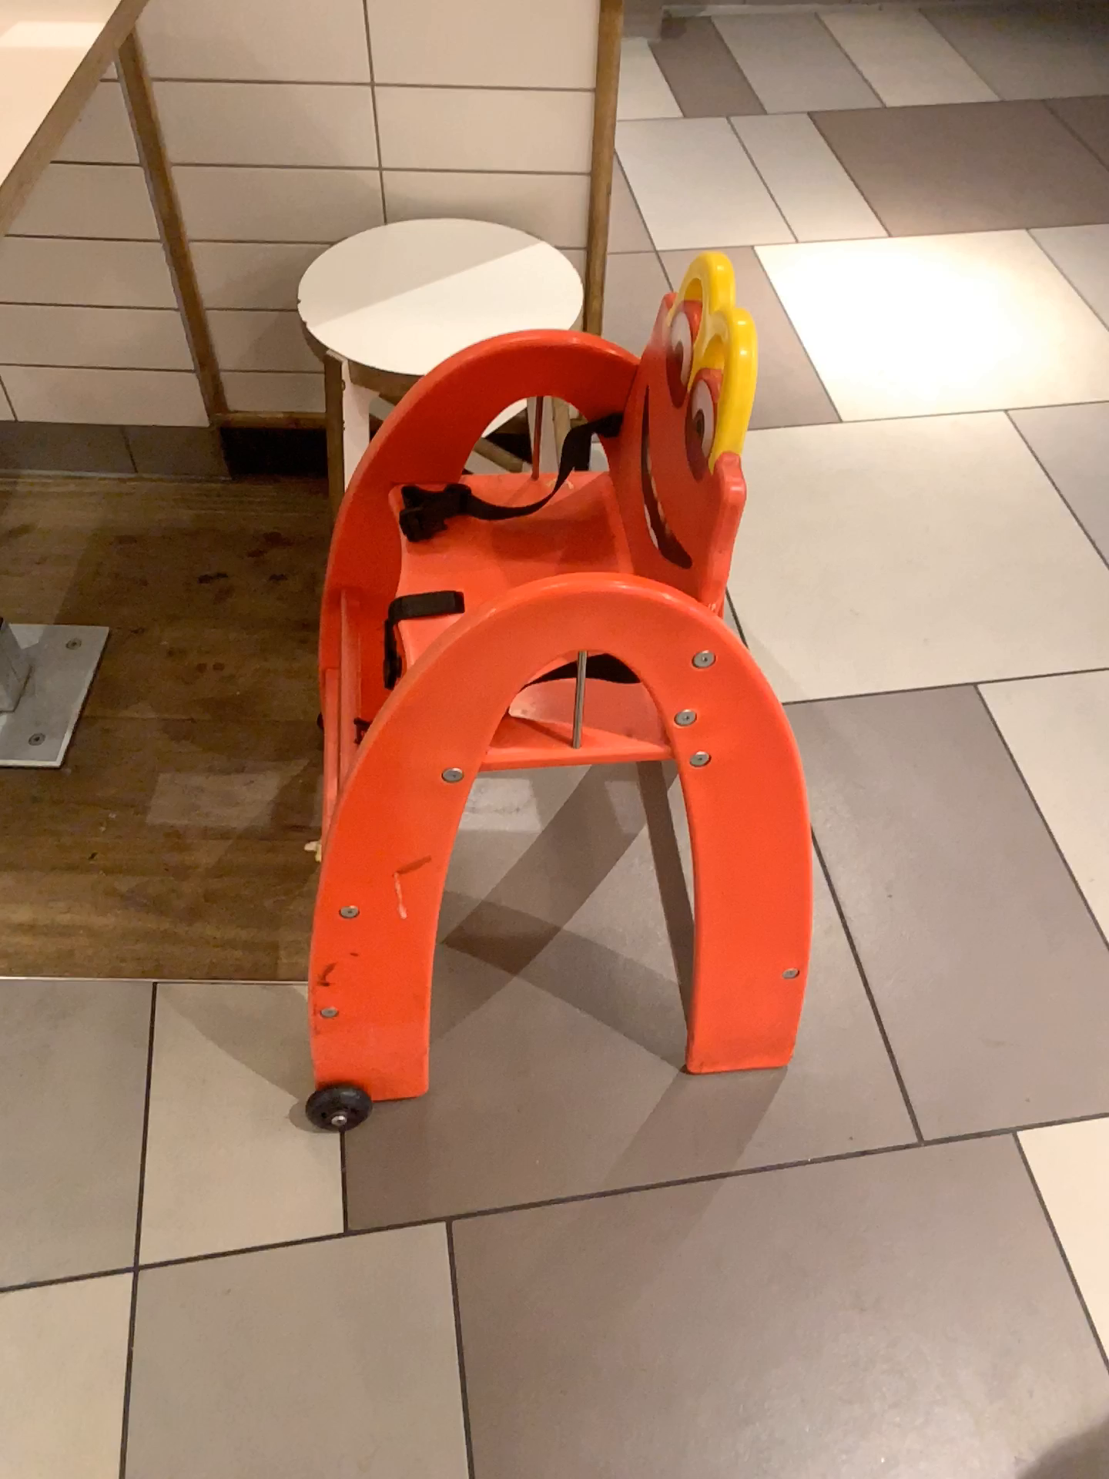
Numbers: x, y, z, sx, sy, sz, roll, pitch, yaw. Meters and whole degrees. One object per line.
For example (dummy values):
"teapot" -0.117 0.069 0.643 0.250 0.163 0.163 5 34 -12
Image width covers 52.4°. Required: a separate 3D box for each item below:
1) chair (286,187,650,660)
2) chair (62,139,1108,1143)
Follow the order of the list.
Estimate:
"chair" -0.114 -0.386 1.421 0.370 0.446 0.323 -6 52 -7
"chair" -0.016 -0.072 1.041 0.580 0.654 0.585 -6 52 -7
